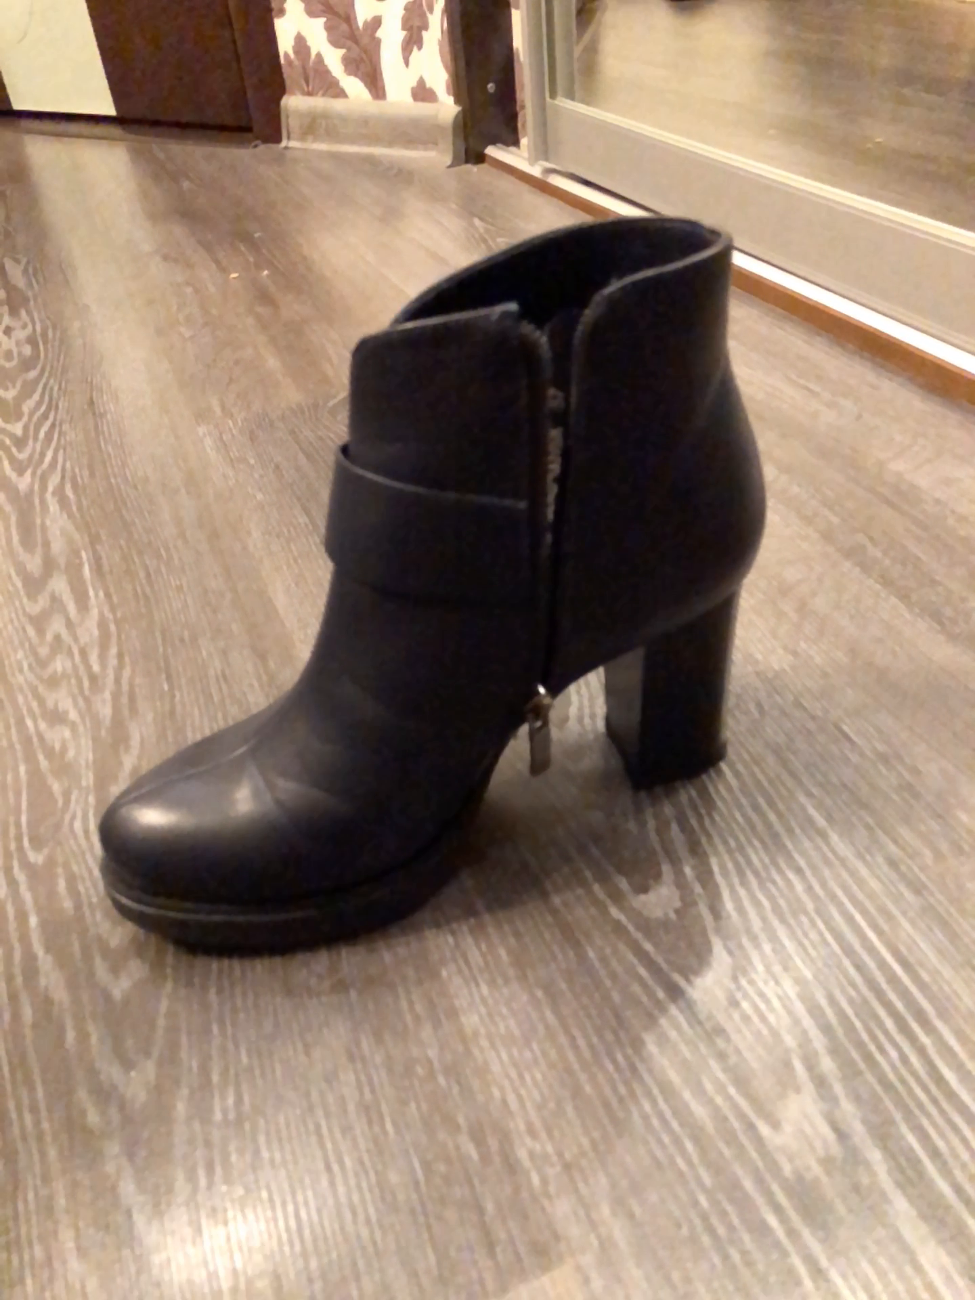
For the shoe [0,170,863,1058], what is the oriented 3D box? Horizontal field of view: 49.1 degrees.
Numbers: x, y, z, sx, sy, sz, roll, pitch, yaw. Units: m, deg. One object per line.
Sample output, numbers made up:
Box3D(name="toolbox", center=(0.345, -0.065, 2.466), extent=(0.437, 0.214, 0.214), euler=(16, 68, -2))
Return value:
Box3D(name="shoe", center=(-0.025, -0.015, 0.325), extent=(0.240, 0.189, 0.091), euler=(-18, 38, -15))
